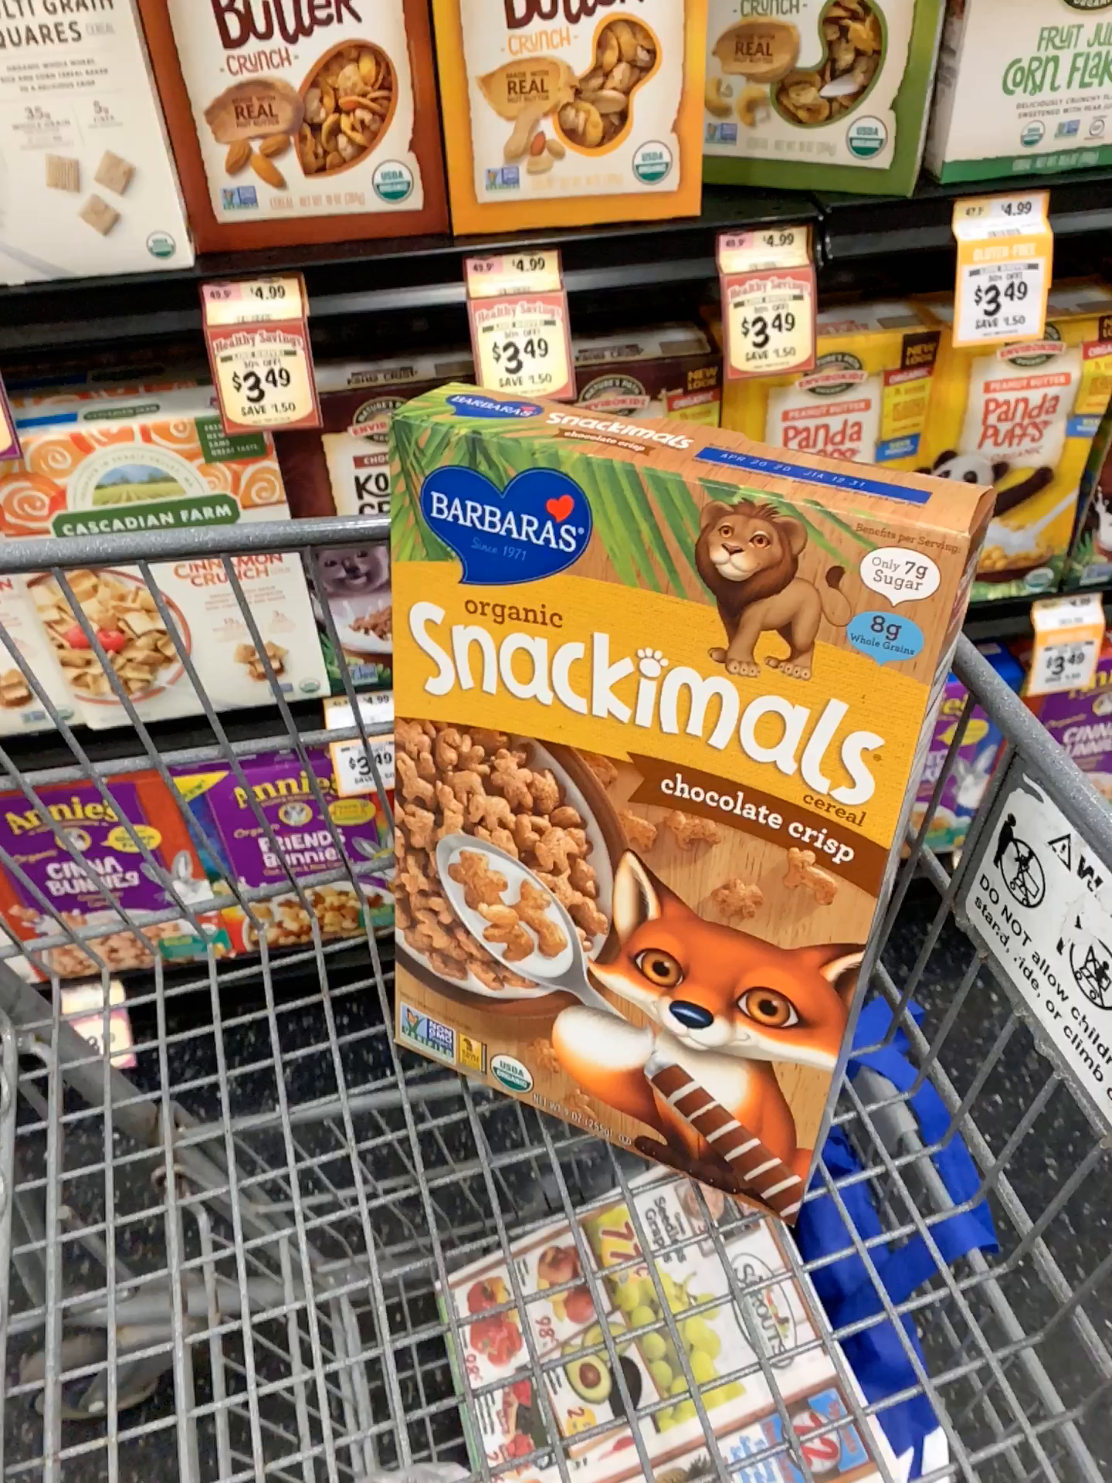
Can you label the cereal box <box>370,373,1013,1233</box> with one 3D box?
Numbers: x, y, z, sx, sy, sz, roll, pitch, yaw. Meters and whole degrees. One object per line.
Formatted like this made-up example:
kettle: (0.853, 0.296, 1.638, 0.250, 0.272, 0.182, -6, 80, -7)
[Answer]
cereal box: (0.027, 0.028, 0.400, 0.180, 0.269, 0.050, 18, 34, 21)
